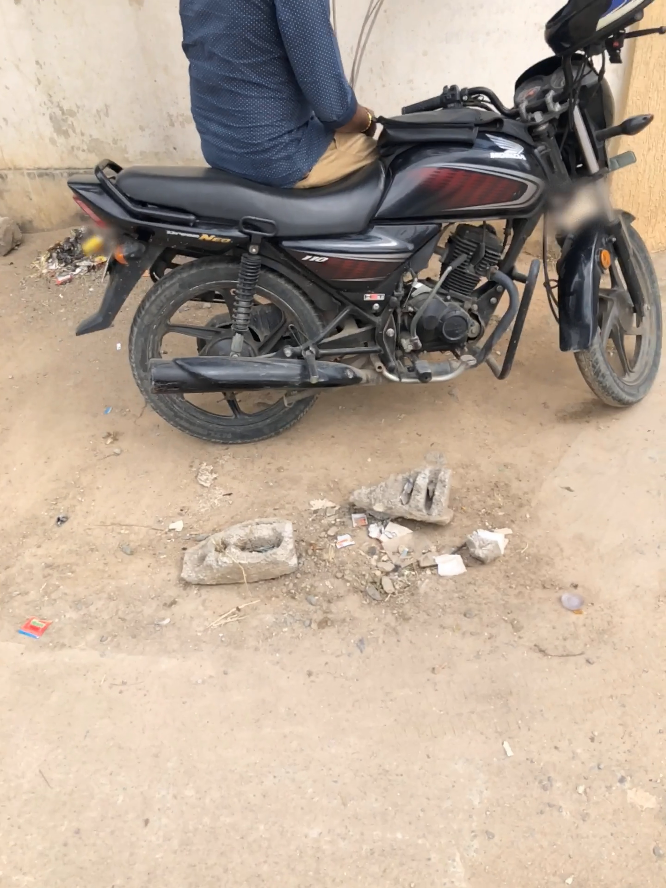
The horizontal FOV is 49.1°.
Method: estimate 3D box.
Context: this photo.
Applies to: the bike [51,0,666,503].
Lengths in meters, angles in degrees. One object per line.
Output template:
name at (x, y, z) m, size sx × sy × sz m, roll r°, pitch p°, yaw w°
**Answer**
bike at (0.229, -0.656, 2.187) m, size 1.666 × 1.069 × 0.725 m, roll -12°, pitch 38°, yaw -11°
